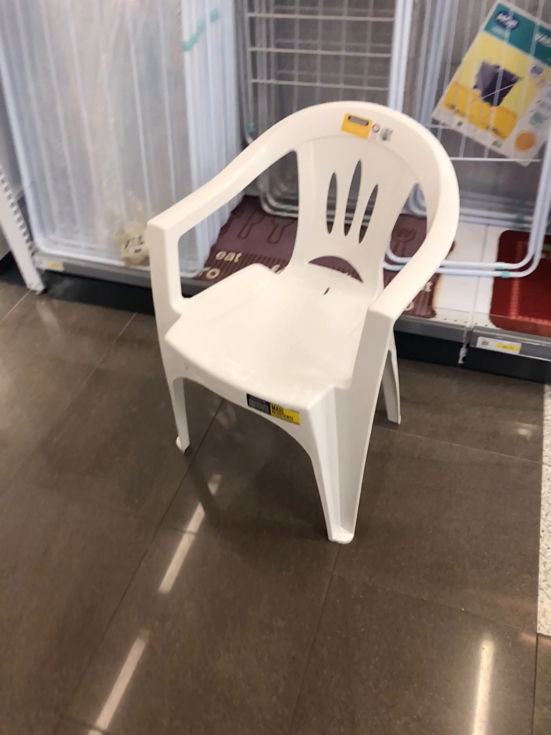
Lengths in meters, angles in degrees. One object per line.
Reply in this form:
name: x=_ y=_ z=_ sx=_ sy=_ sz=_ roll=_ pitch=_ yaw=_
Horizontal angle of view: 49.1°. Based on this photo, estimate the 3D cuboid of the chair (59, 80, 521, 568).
chair: x=0.069 y=-0.115 z=1.322 sx=0.601 sy=0.705 sz=0.603 roll=21 pitch=51 yaw=24
